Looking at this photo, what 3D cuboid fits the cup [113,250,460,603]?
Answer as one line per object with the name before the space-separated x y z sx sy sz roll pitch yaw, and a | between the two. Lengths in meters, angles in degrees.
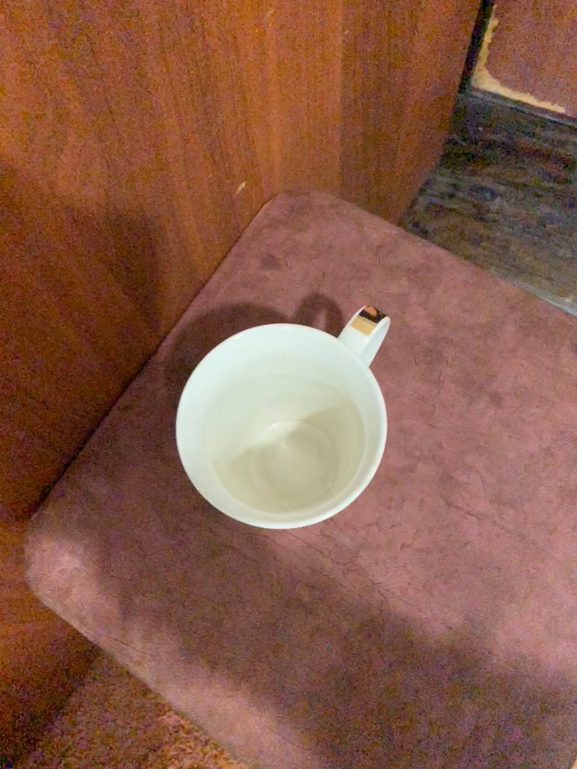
cup | 0.003 0.024 0.291 0.095 0.092 0.119 32 76 13
